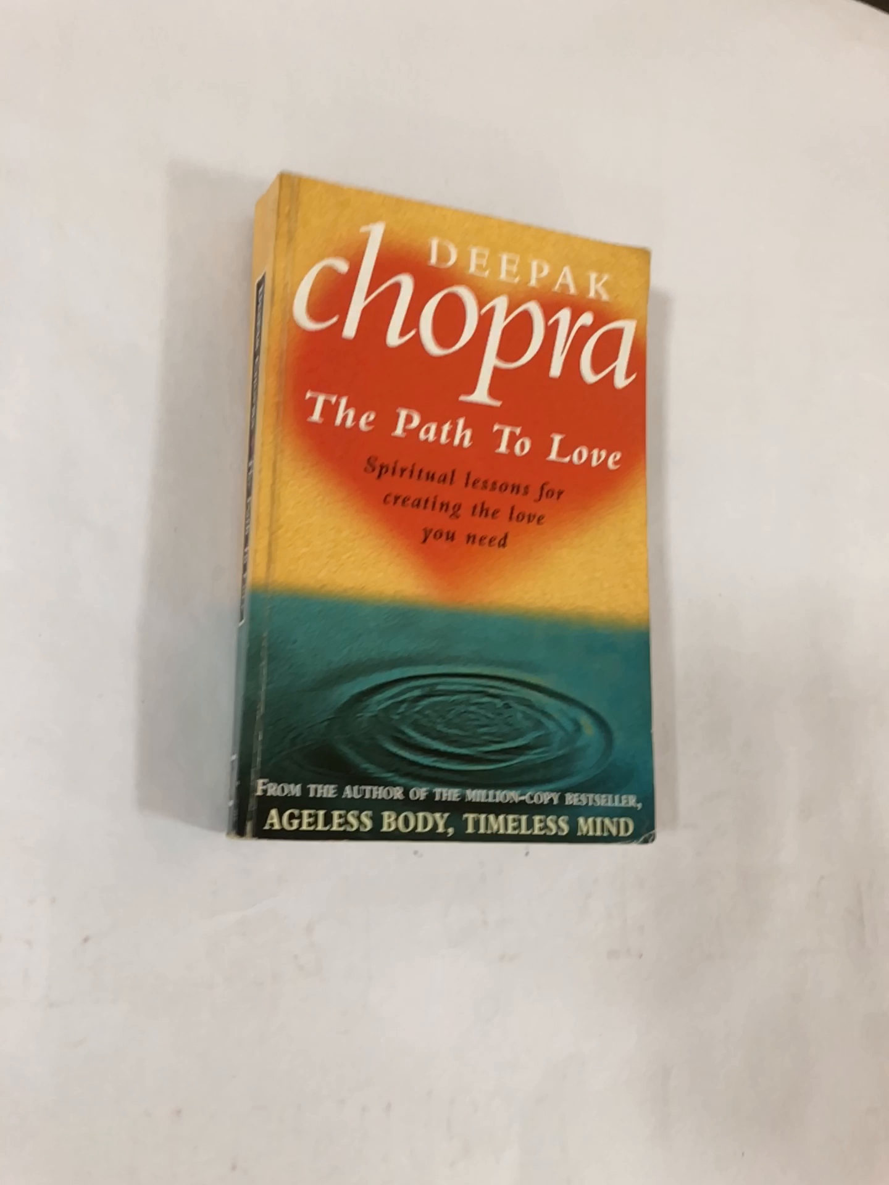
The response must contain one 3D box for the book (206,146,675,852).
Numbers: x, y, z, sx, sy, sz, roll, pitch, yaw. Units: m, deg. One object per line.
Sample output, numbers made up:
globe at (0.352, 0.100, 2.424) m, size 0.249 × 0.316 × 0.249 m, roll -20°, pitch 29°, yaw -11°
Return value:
book at (0.001, -0.023, 0.310) m, size 0.130 × 0.040 × 0.200 m, roll 6°, pitch 76°, yaw -21°
